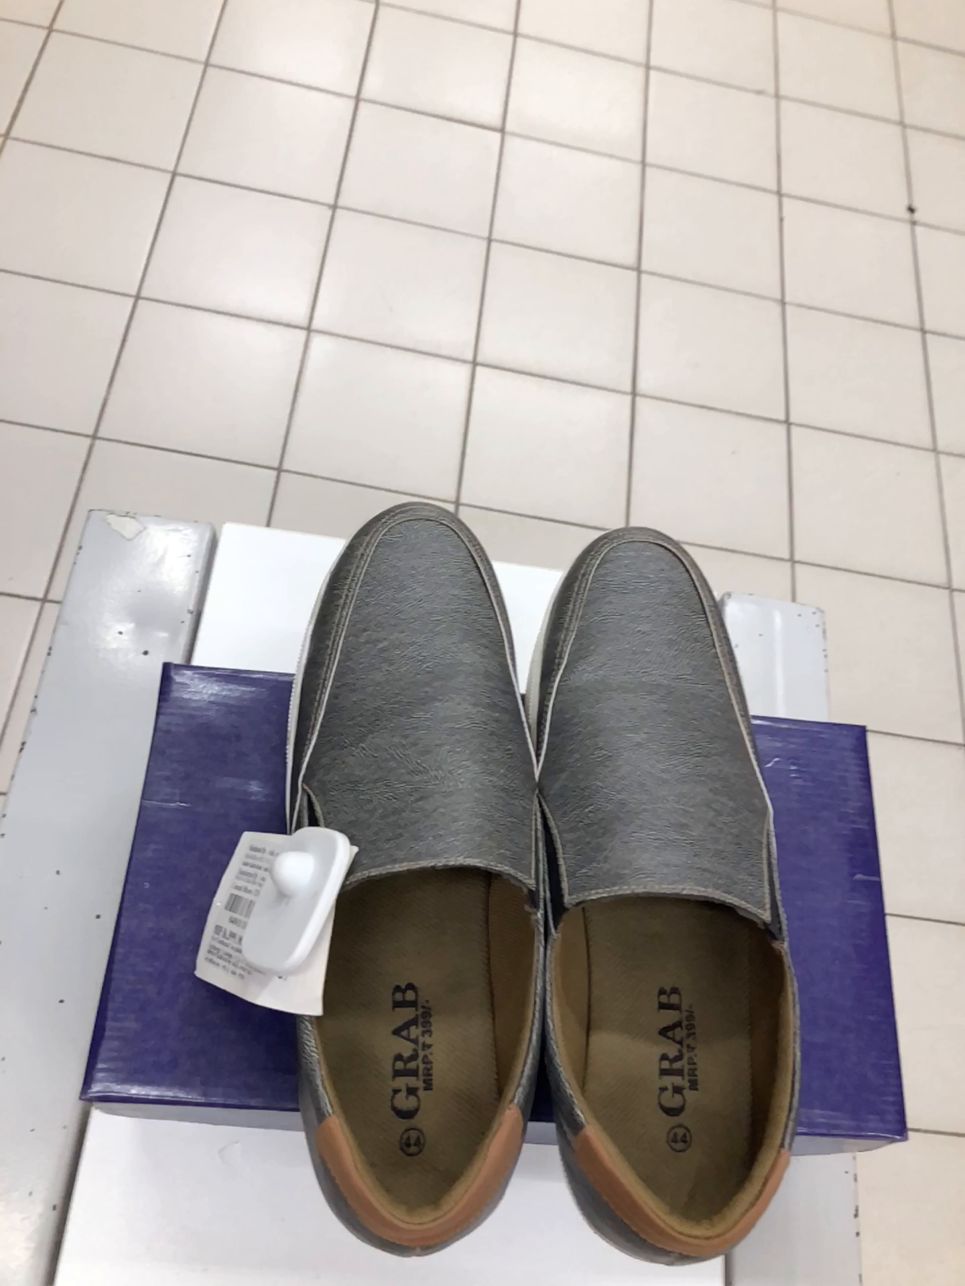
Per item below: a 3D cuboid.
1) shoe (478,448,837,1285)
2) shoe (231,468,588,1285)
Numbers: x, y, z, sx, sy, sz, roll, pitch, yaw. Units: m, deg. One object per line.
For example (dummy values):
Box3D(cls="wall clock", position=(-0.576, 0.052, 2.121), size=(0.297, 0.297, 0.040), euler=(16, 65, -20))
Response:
Box3D(cls="shoe", position=(0.067, 0.087, 0.457), size=(0.100, 0.119, 0.311), euler=(7, 65, -6))
Box3D(cls="shoe", position=(-0.027, 0.080, 0.399), size=(0.100, 0.100, 0.271), euler=(3, 65, -8))
